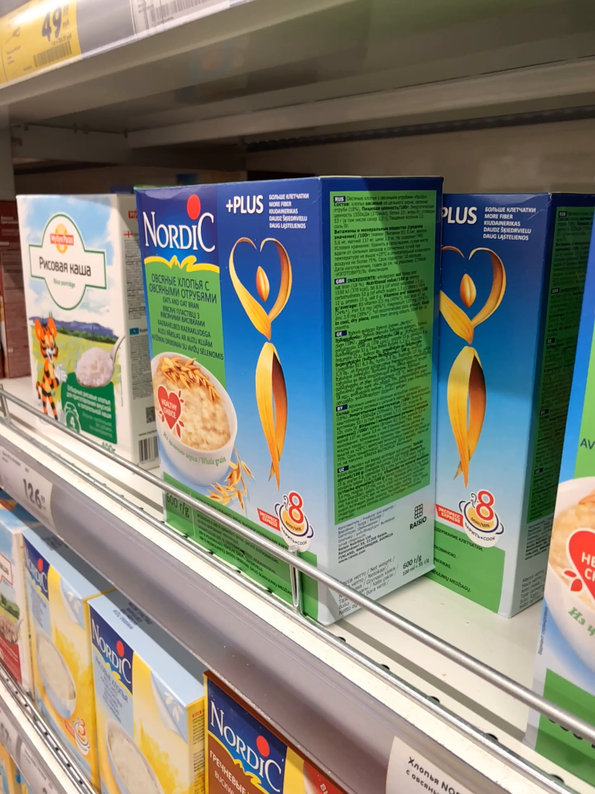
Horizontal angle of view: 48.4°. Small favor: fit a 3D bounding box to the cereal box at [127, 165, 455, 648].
[{"bbox_3d":[-0.010,-0.009,0.326,0.070,0.189,0.150,-13,20,-38],"label":"cereal box"}]
